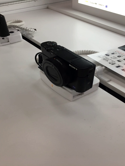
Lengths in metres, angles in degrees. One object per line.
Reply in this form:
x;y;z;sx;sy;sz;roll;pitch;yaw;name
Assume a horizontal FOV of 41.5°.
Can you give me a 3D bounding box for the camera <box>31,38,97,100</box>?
-0.002;-0.024;0.270;0.034;0.065;0.102;-33;52;-25;camera
